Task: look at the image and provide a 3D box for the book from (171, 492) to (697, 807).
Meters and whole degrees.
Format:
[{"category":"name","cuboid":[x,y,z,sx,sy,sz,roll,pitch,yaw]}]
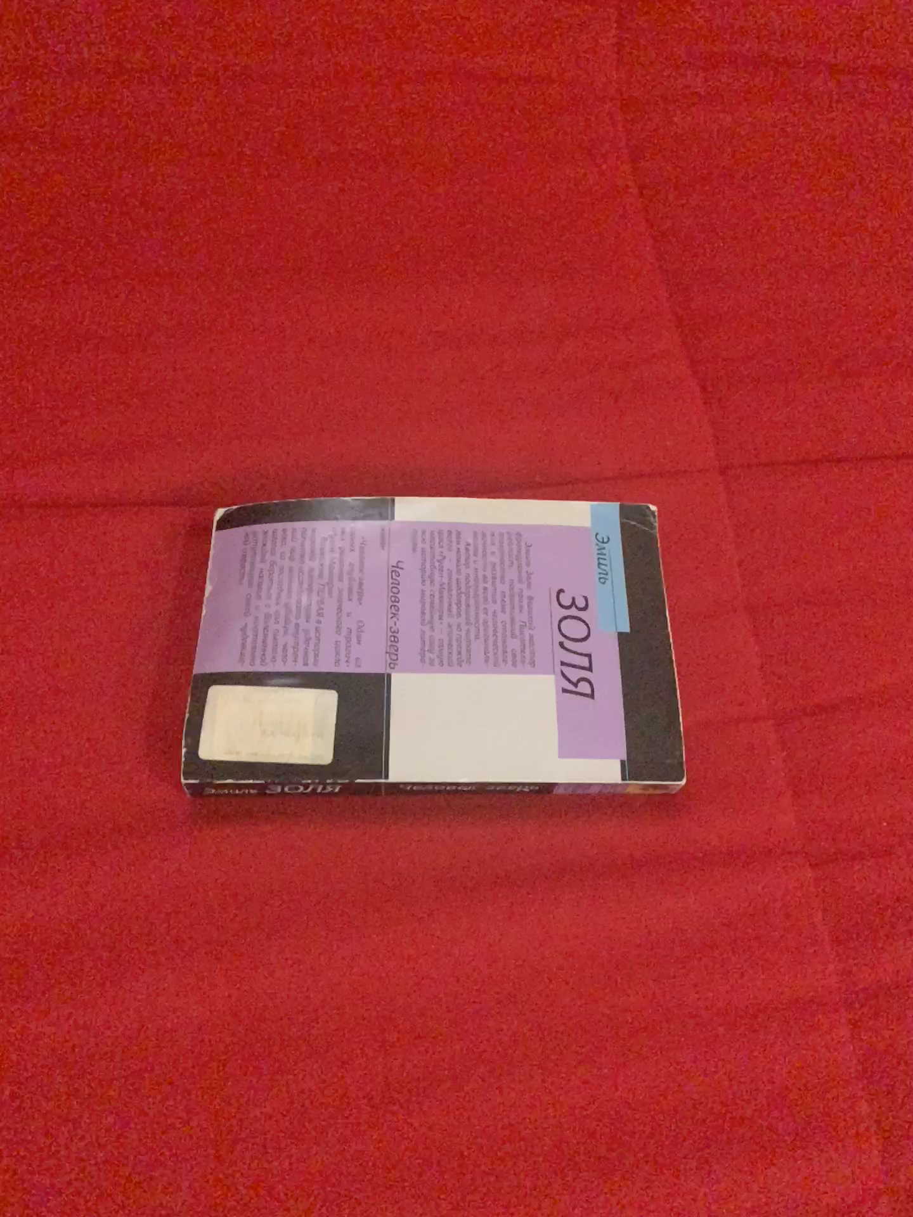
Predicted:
[{"category":"book","cuboid":[-0.008,0.014,0.342,0.170,0.034,0.109,1,64,-3]}]
